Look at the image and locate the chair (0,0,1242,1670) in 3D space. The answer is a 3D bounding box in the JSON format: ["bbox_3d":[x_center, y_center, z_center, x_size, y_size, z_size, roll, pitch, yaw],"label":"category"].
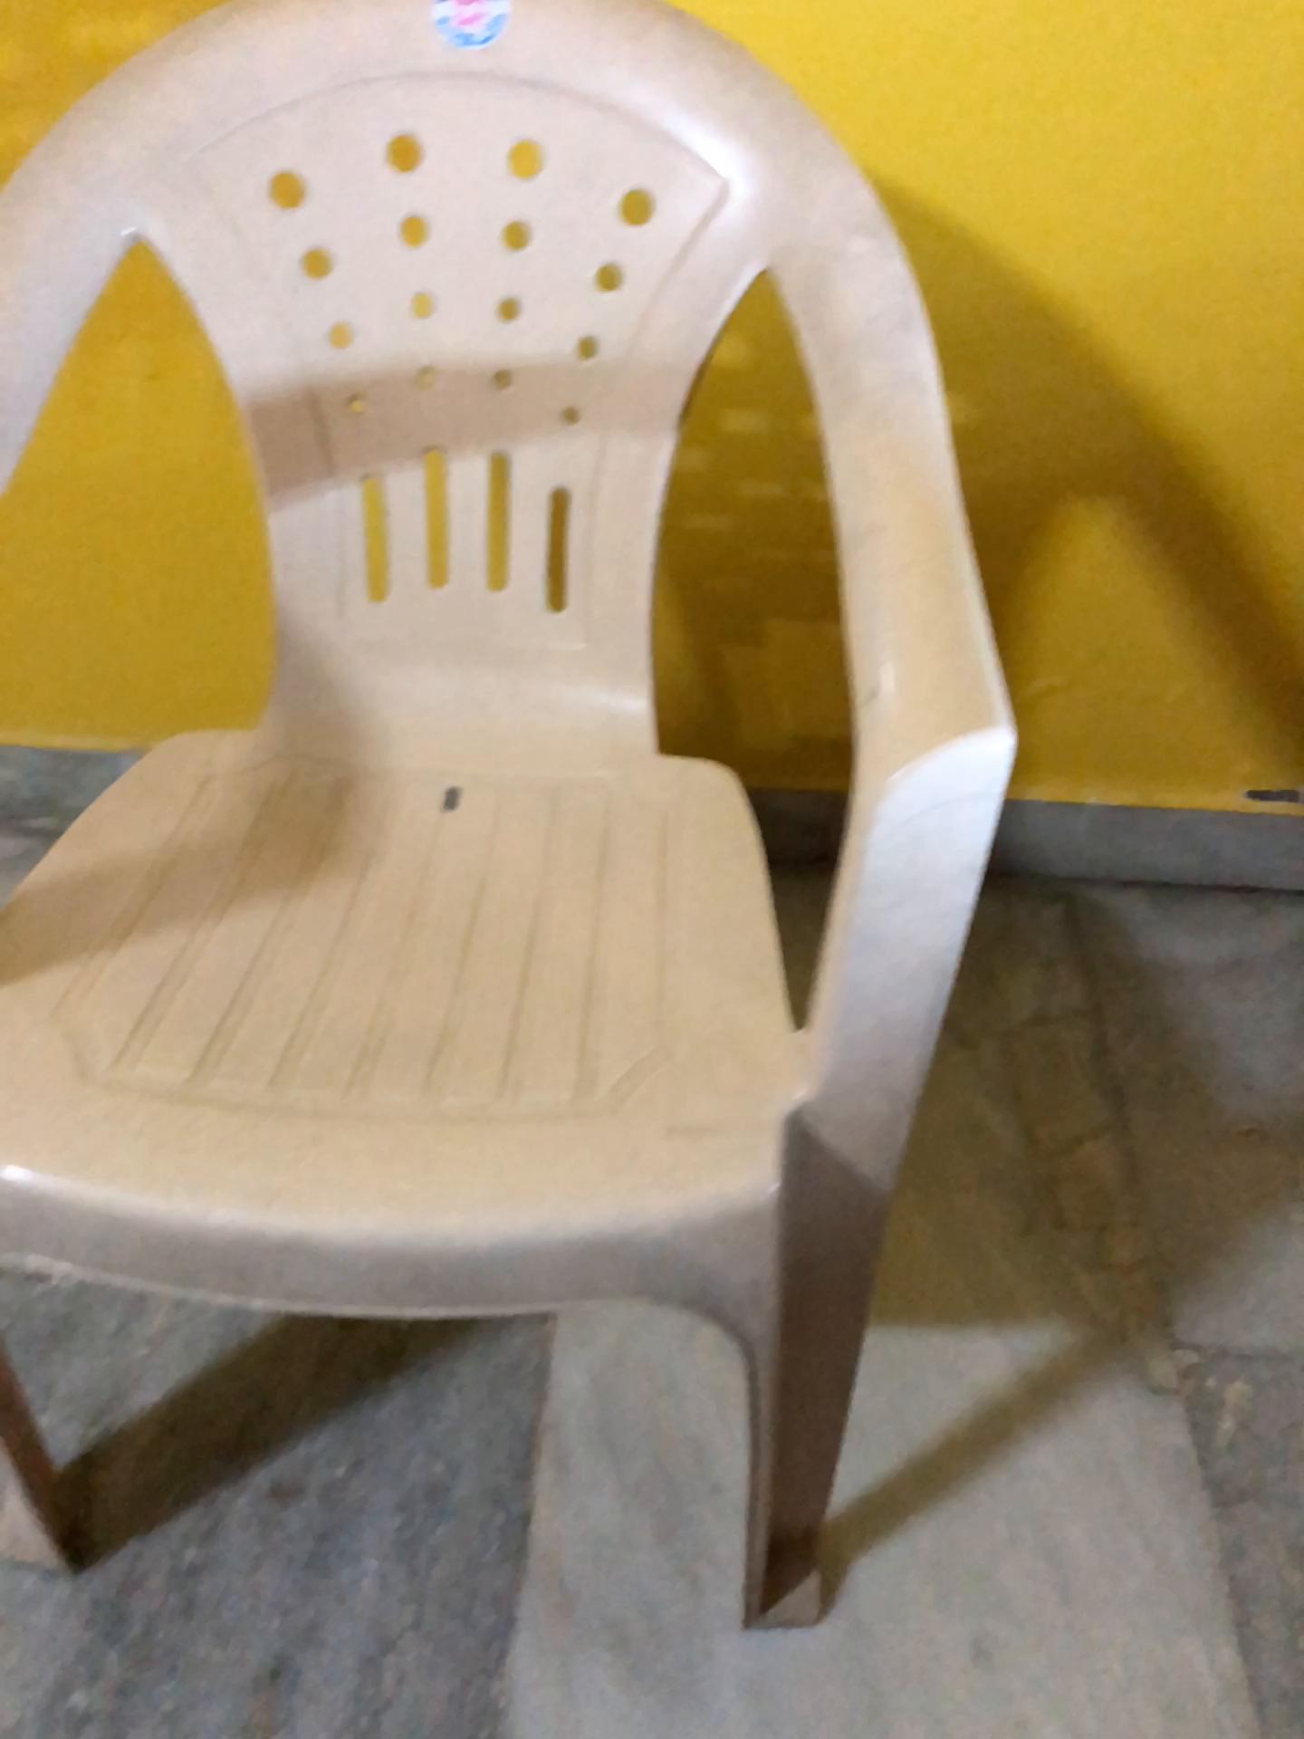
[{"bbox_3d":[-0.130,-0.031,0.791,0.530,0.785,0.564,3,41,1],"label":"chair"}]
